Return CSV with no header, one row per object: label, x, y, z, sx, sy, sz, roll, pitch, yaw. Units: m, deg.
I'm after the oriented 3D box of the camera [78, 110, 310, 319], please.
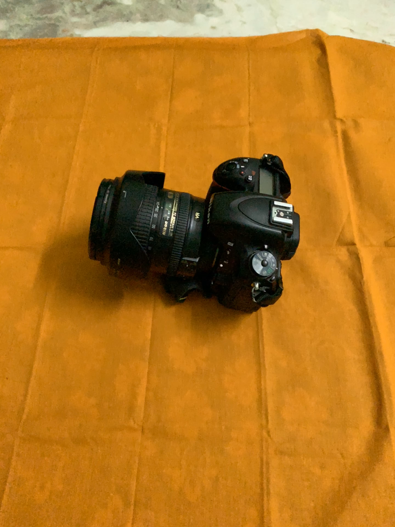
camera,0.002,-0.043,0.380,0.170,0.110,0.152,3,63,3
